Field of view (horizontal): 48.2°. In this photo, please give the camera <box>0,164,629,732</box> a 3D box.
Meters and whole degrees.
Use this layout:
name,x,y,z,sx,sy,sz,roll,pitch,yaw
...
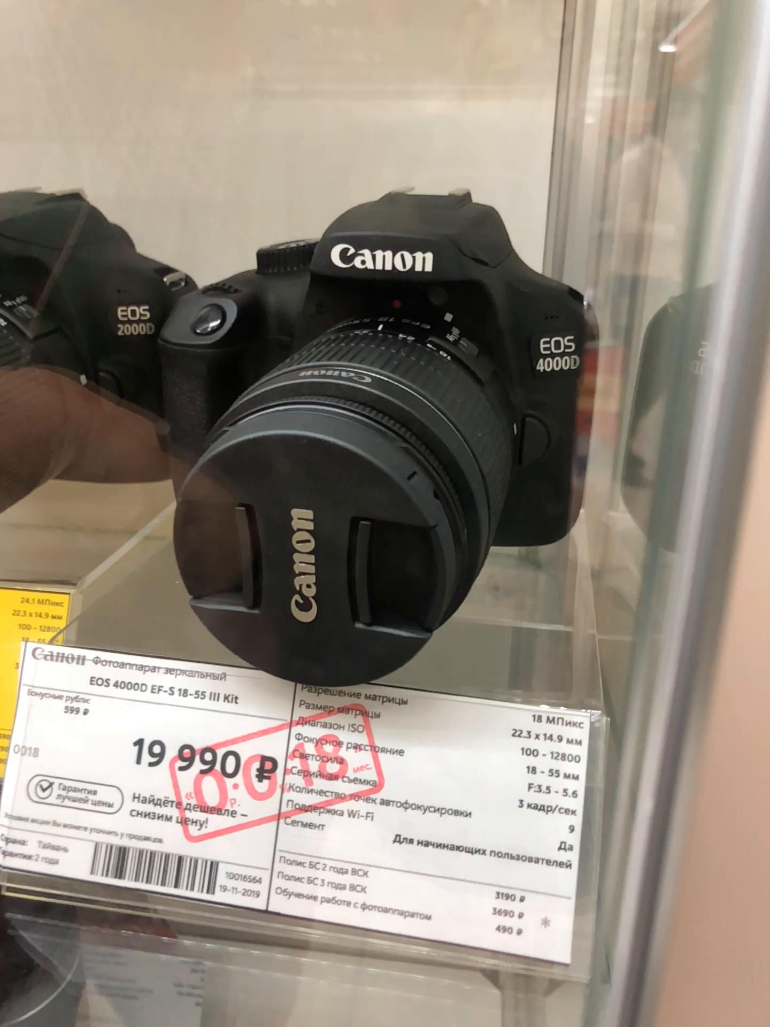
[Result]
name,x,y,z,sx,sy,sz,roll,pitch,yaw
camera,-0.013,-0.034,0.227,0.125,0.100,0.147,4,20,9
